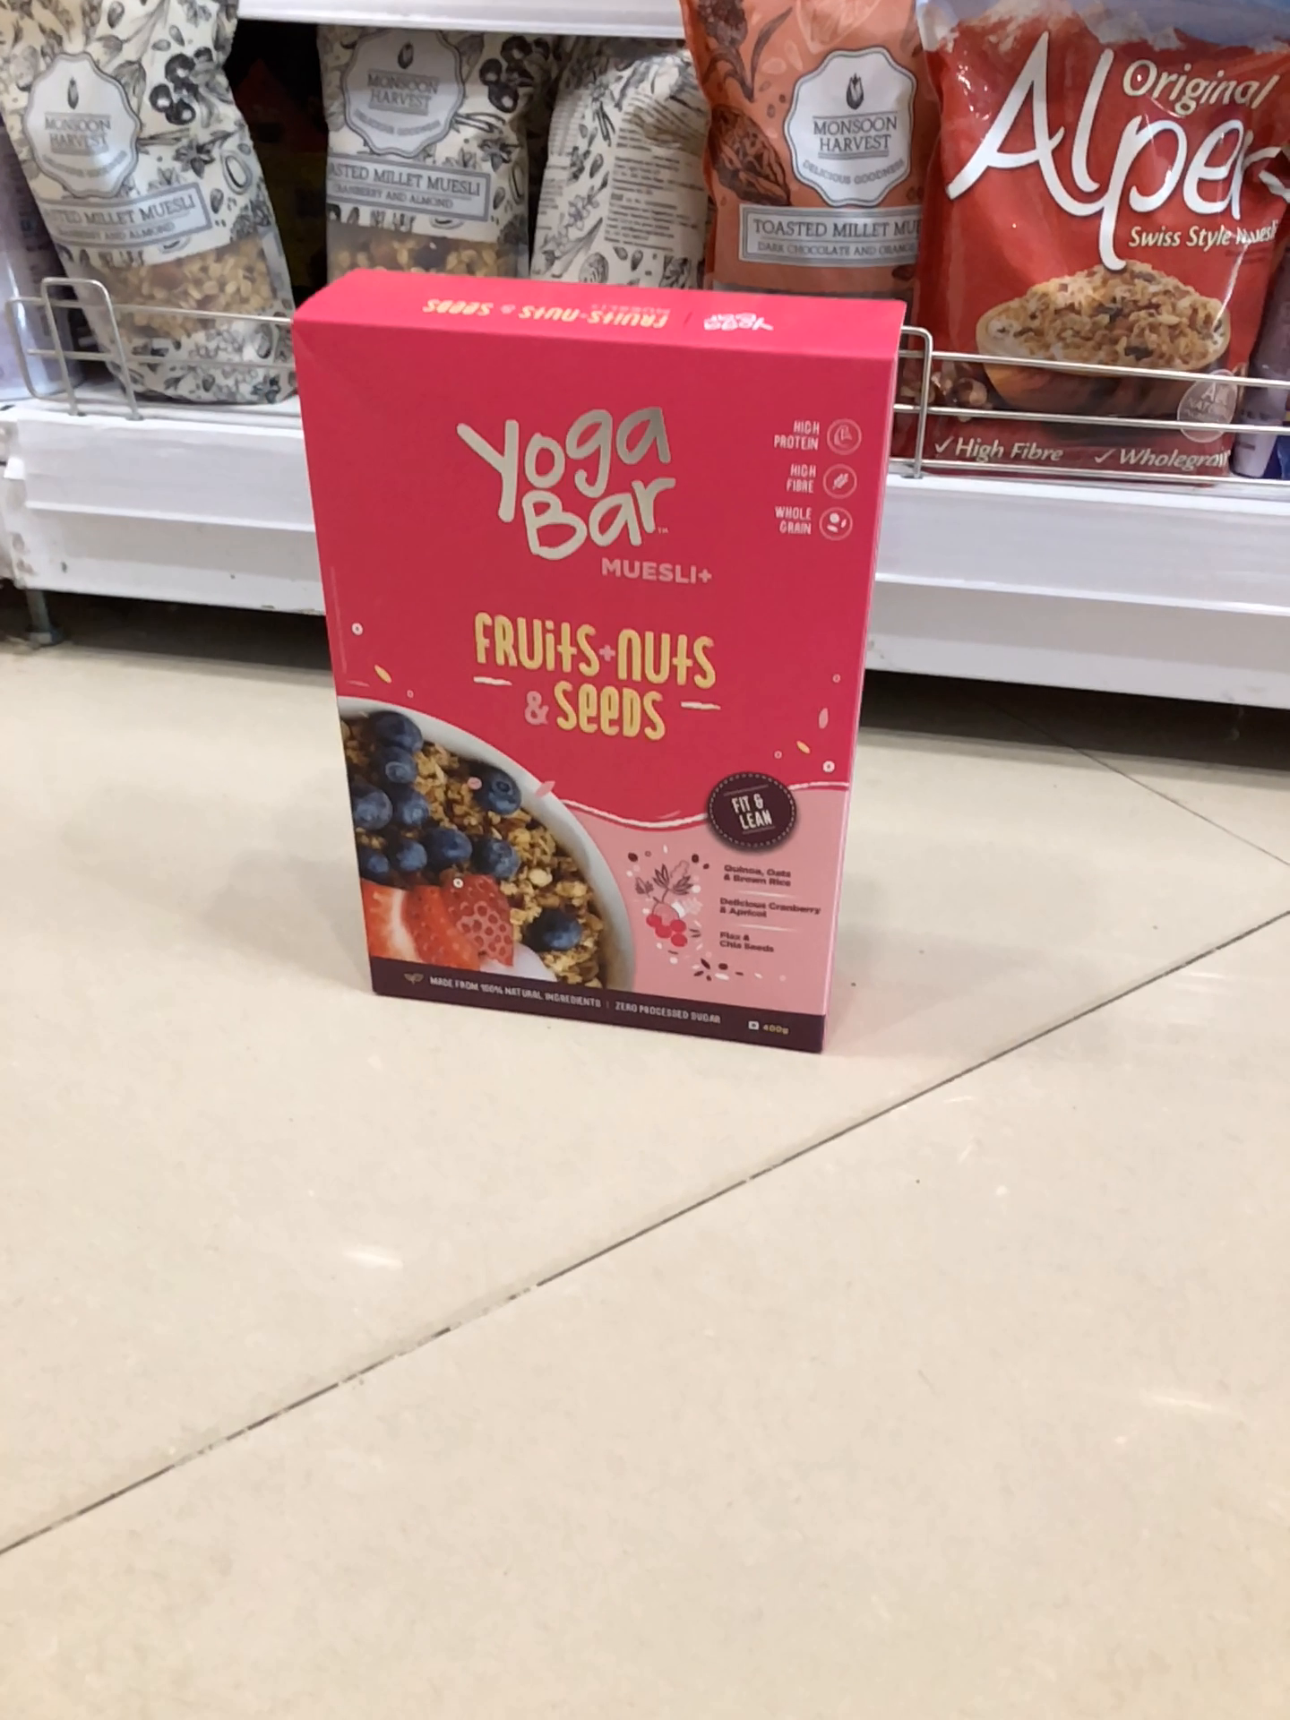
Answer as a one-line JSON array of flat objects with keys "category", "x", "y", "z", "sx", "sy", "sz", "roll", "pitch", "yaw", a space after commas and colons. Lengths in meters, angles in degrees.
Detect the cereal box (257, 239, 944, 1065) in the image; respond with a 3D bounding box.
[{"category": "cereal box", "x": -0.010, "y": -0.057, "z": 0.432, "sx": 0.170, "sy": 0.228, "sz": 0.060, "roll": 6, "pitch": 33, "yaw": 9}]
